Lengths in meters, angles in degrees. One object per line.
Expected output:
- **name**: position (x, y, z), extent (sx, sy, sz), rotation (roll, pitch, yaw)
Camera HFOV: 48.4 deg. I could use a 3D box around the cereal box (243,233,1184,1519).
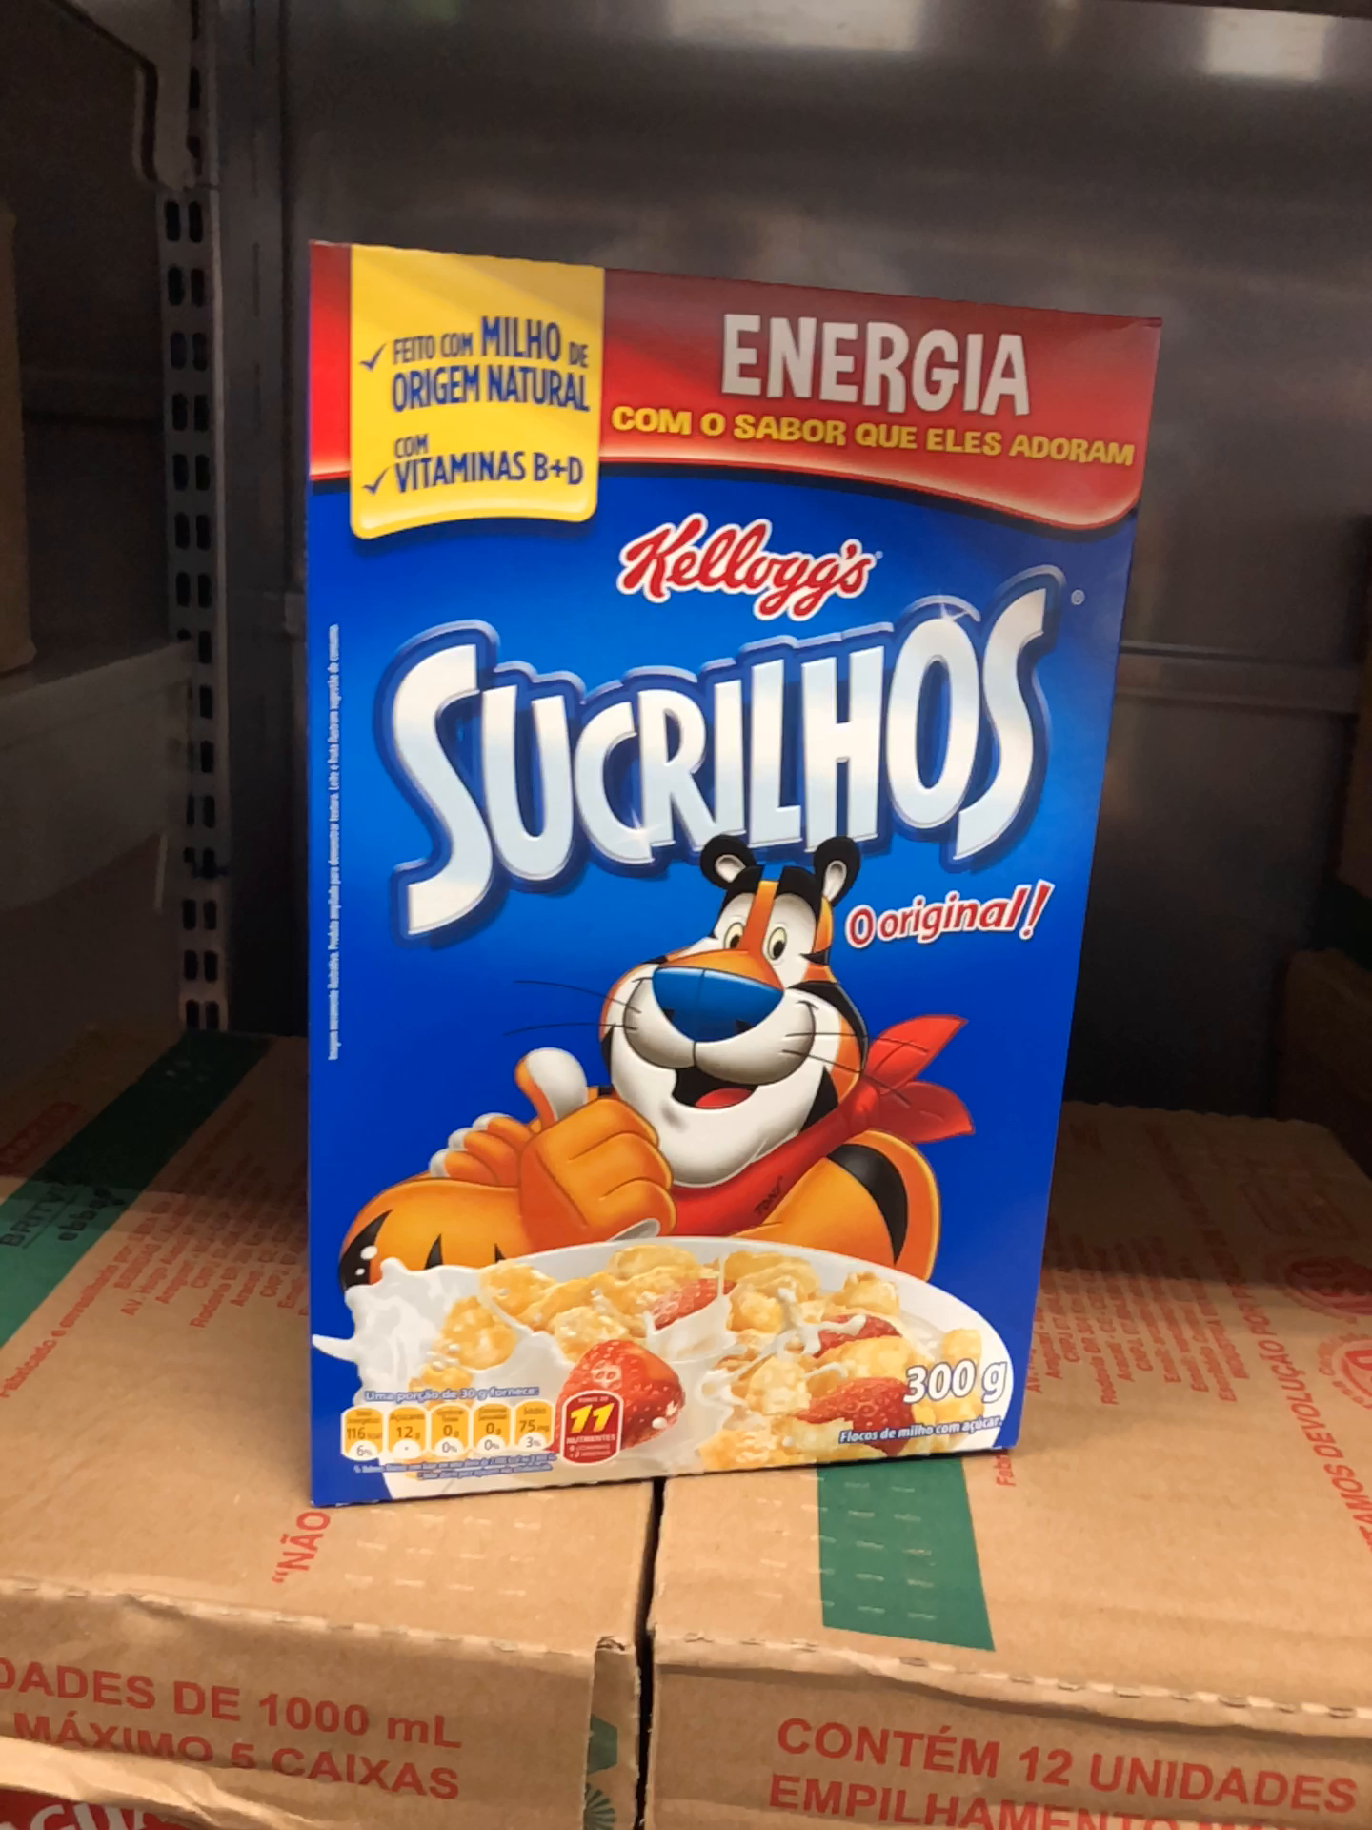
- **cereal box**: position (-0.002, -0.003, 0.331), extent (0.170, 0.249, 0.060), rotation (0, 16, -12)
